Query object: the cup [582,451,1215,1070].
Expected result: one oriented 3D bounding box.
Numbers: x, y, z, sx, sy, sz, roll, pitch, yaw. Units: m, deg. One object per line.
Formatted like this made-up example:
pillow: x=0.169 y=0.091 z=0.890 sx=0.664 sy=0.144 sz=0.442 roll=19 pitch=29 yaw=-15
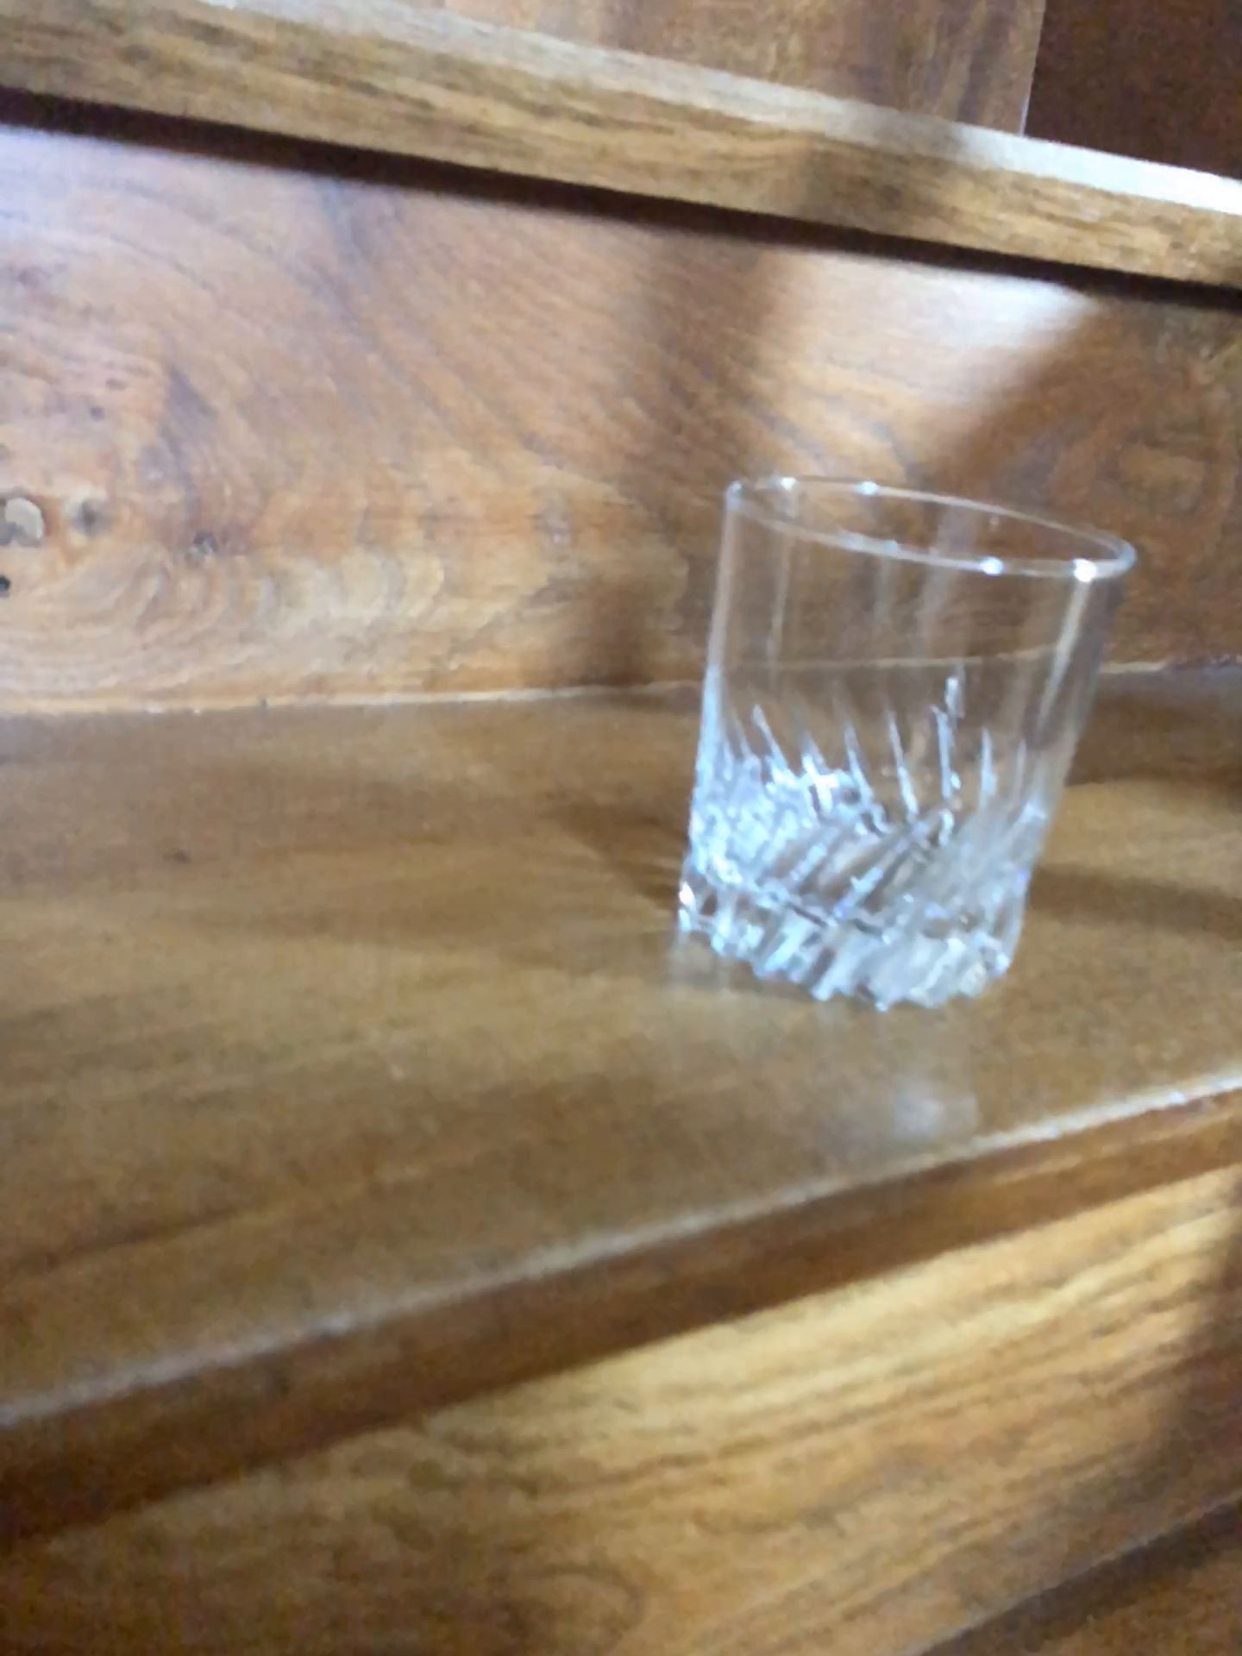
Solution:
cup: x=0.058 y=-0.023 z=0.281 sx=0.090 sy=0.090 sz=0.091 roll=6 pitch=21 yaw=-2
